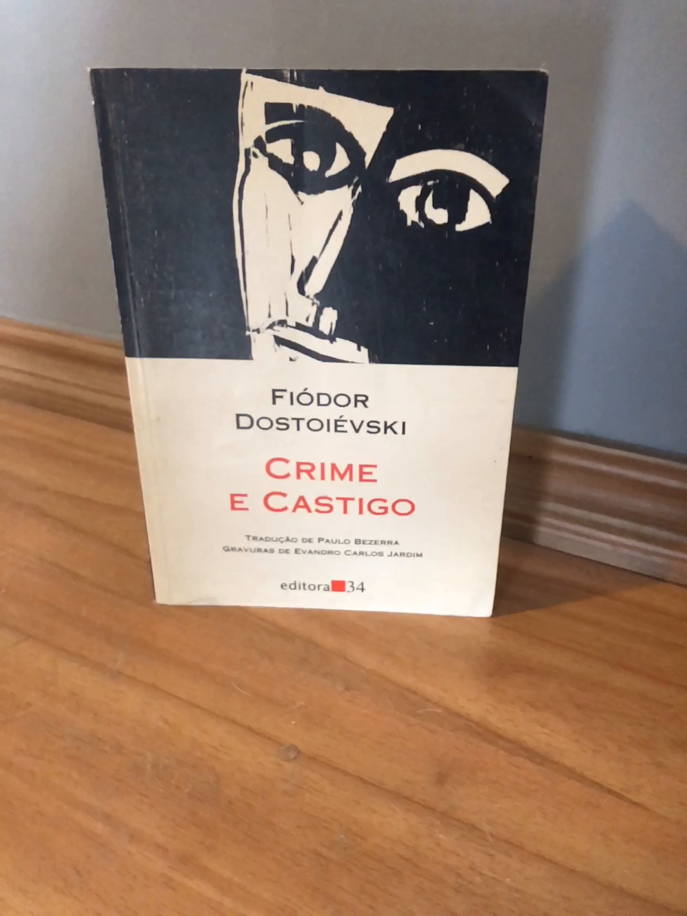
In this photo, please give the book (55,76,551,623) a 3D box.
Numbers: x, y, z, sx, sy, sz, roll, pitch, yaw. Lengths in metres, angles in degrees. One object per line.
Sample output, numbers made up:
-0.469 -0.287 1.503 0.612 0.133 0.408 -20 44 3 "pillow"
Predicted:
-0.015 -0.038 0.328 0.170 0.222 0.046 2 25 3 "book"
